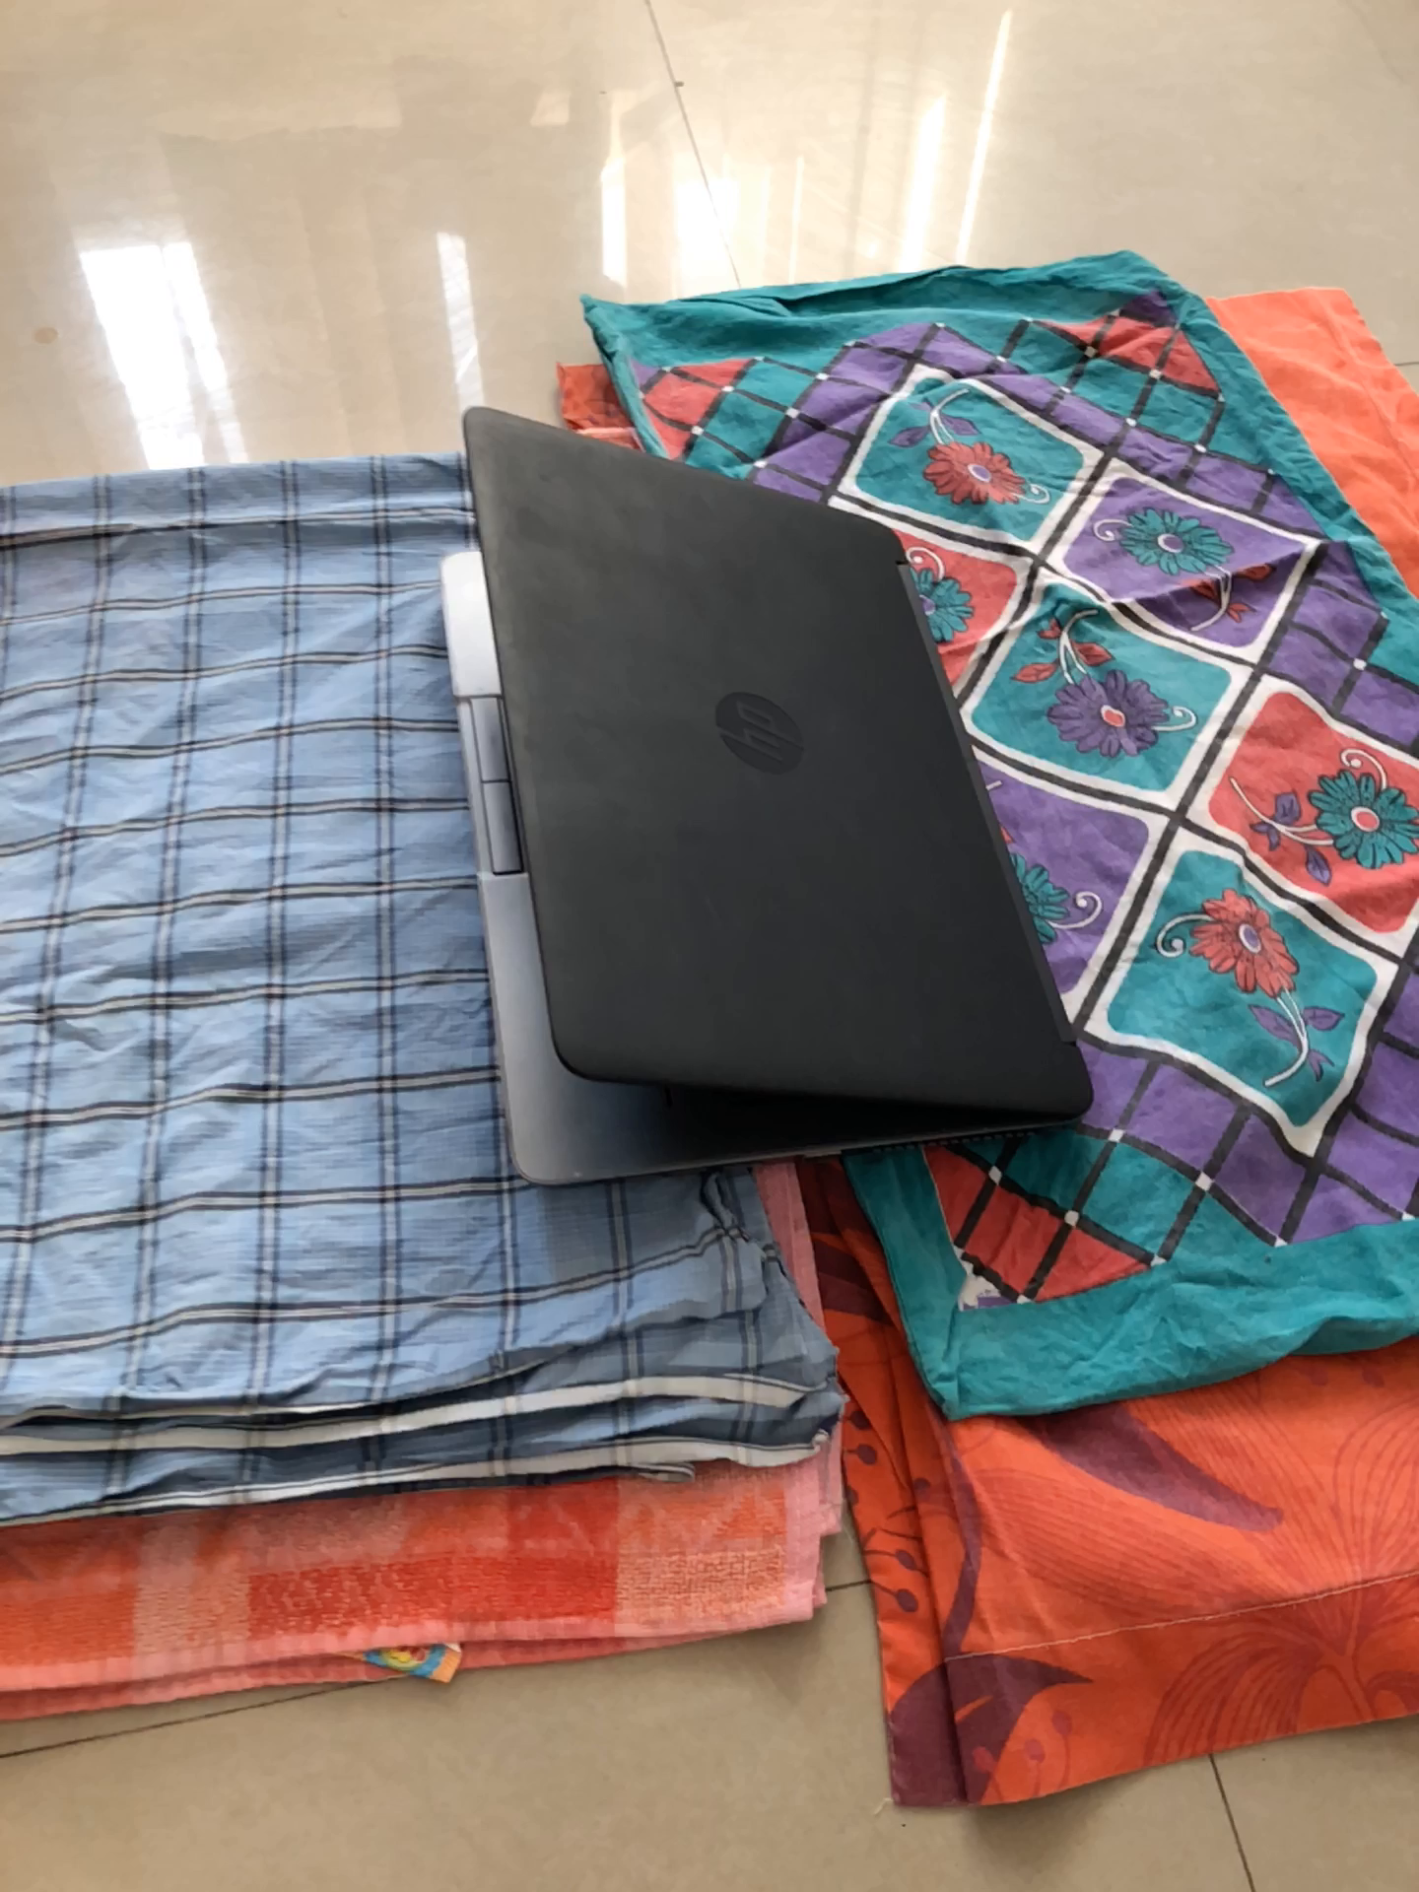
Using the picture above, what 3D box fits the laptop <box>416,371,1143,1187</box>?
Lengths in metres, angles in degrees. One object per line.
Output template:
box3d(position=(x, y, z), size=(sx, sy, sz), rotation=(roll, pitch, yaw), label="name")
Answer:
box3d(position=(0.012, -0.084, 0.635), size=(0.212, 0.099, 0.323), rotation=(-6, 59, -13), label="laptop")
